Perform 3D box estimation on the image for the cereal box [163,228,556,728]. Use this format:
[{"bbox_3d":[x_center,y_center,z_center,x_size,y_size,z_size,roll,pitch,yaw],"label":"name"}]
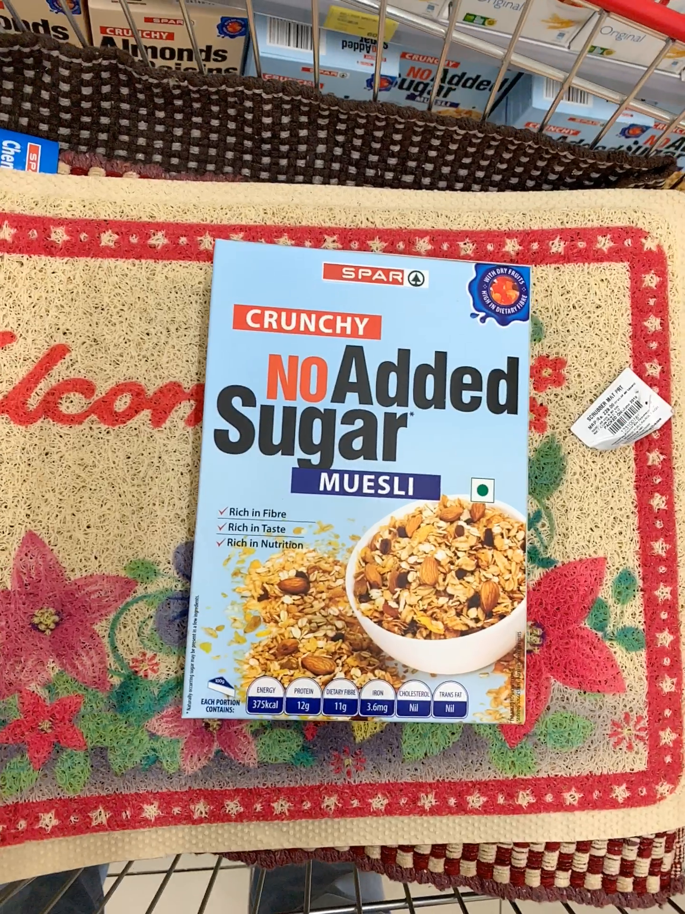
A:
[{"bbox_3d":[0.012,0.011,0.359,0.180,0.050,0.230,3,83,-5],"label":"cereal box"}]
